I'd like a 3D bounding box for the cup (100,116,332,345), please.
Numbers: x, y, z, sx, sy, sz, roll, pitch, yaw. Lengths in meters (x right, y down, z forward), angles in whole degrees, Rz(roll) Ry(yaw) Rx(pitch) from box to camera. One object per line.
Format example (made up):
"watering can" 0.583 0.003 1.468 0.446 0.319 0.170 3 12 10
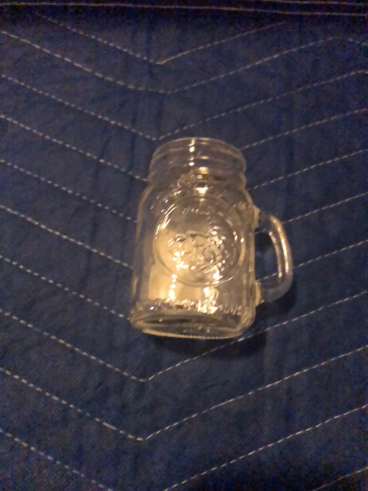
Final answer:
"cup" 0.013 -0.005 0.190 0.088 0.043 0.095 0 77 2
